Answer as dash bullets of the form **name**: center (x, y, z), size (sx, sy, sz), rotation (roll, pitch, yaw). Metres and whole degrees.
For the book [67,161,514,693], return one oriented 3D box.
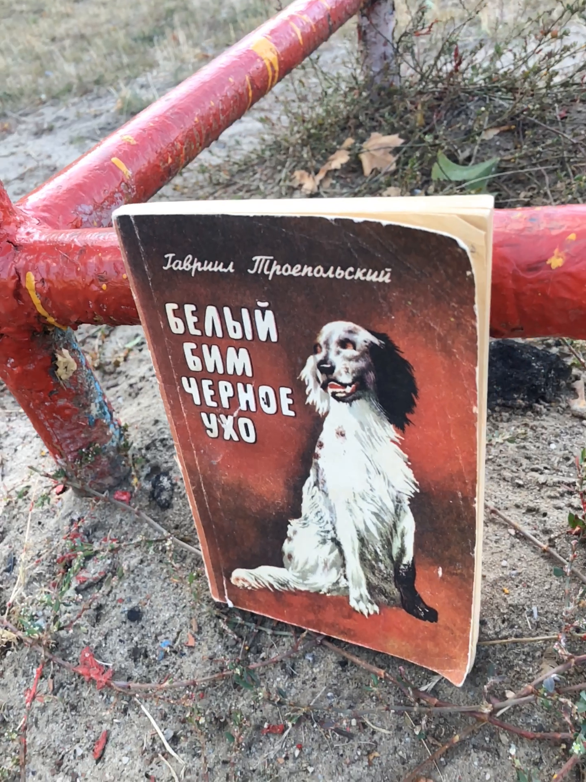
- **book**: center (0.009, 0.022, 0.241), size (0.130, 0.196, 0.030), rotation (7, 37, 26)
